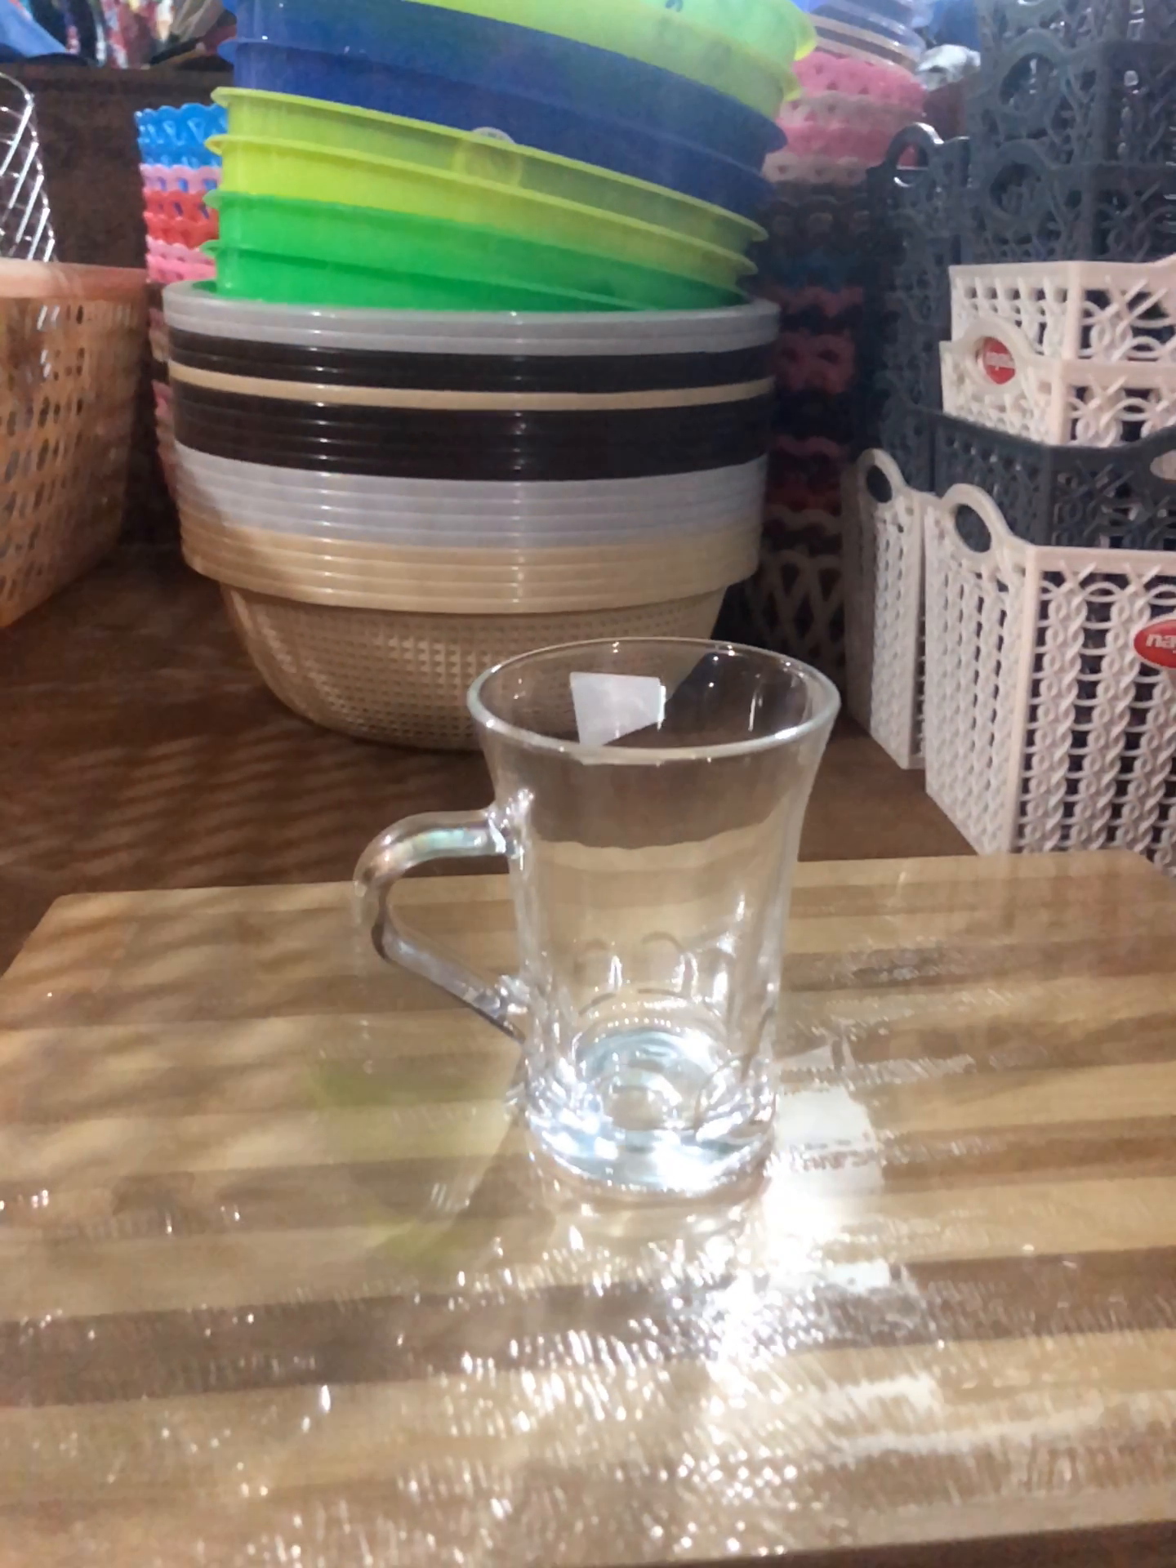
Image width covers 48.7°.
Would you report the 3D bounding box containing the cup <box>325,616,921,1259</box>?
[{"bbox_3d":[0.002,0.023,0.237,0.090,0.090,0.060,-5,22,-11],"label":"cup"}]
